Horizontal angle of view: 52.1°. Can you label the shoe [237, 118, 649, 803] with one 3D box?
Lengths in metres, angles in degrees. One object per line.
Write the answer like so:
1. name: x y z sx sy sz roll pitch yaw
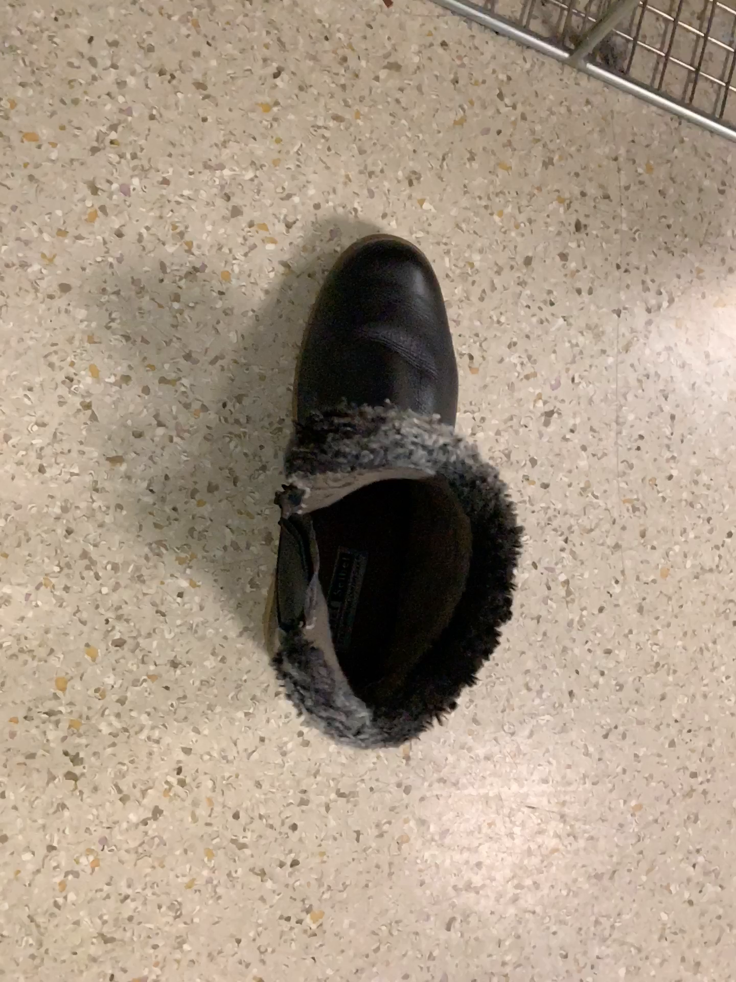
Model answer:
1. shoe: 0.019 -0.008 0.358 0.104 0.169 0.236 11 87 -15
